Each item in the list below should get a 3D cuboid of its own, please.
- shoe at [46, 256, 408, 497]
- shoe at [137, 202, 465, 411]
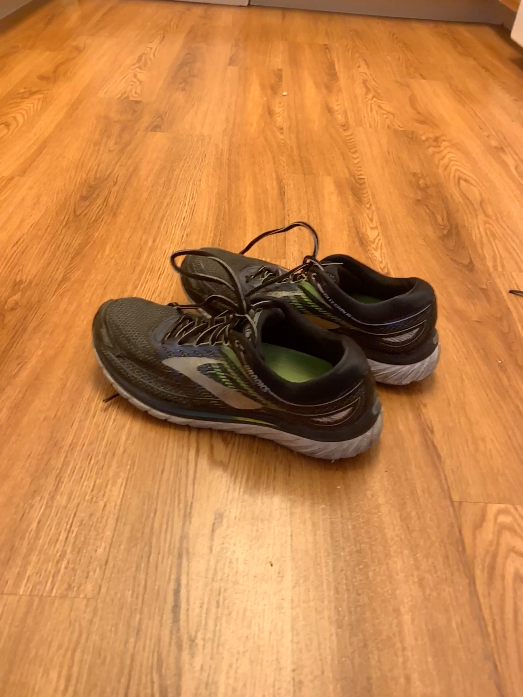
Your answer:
[{"bbox_3d":[-0.034,0.020,0.537,0.320,0.109,0.111,16,44,13],"label":"shoe"},{"bbox_3d":[0.042,-0.057,0.623,0.340,0.109,0.121,16,44,13],"label":"shoe"}]
